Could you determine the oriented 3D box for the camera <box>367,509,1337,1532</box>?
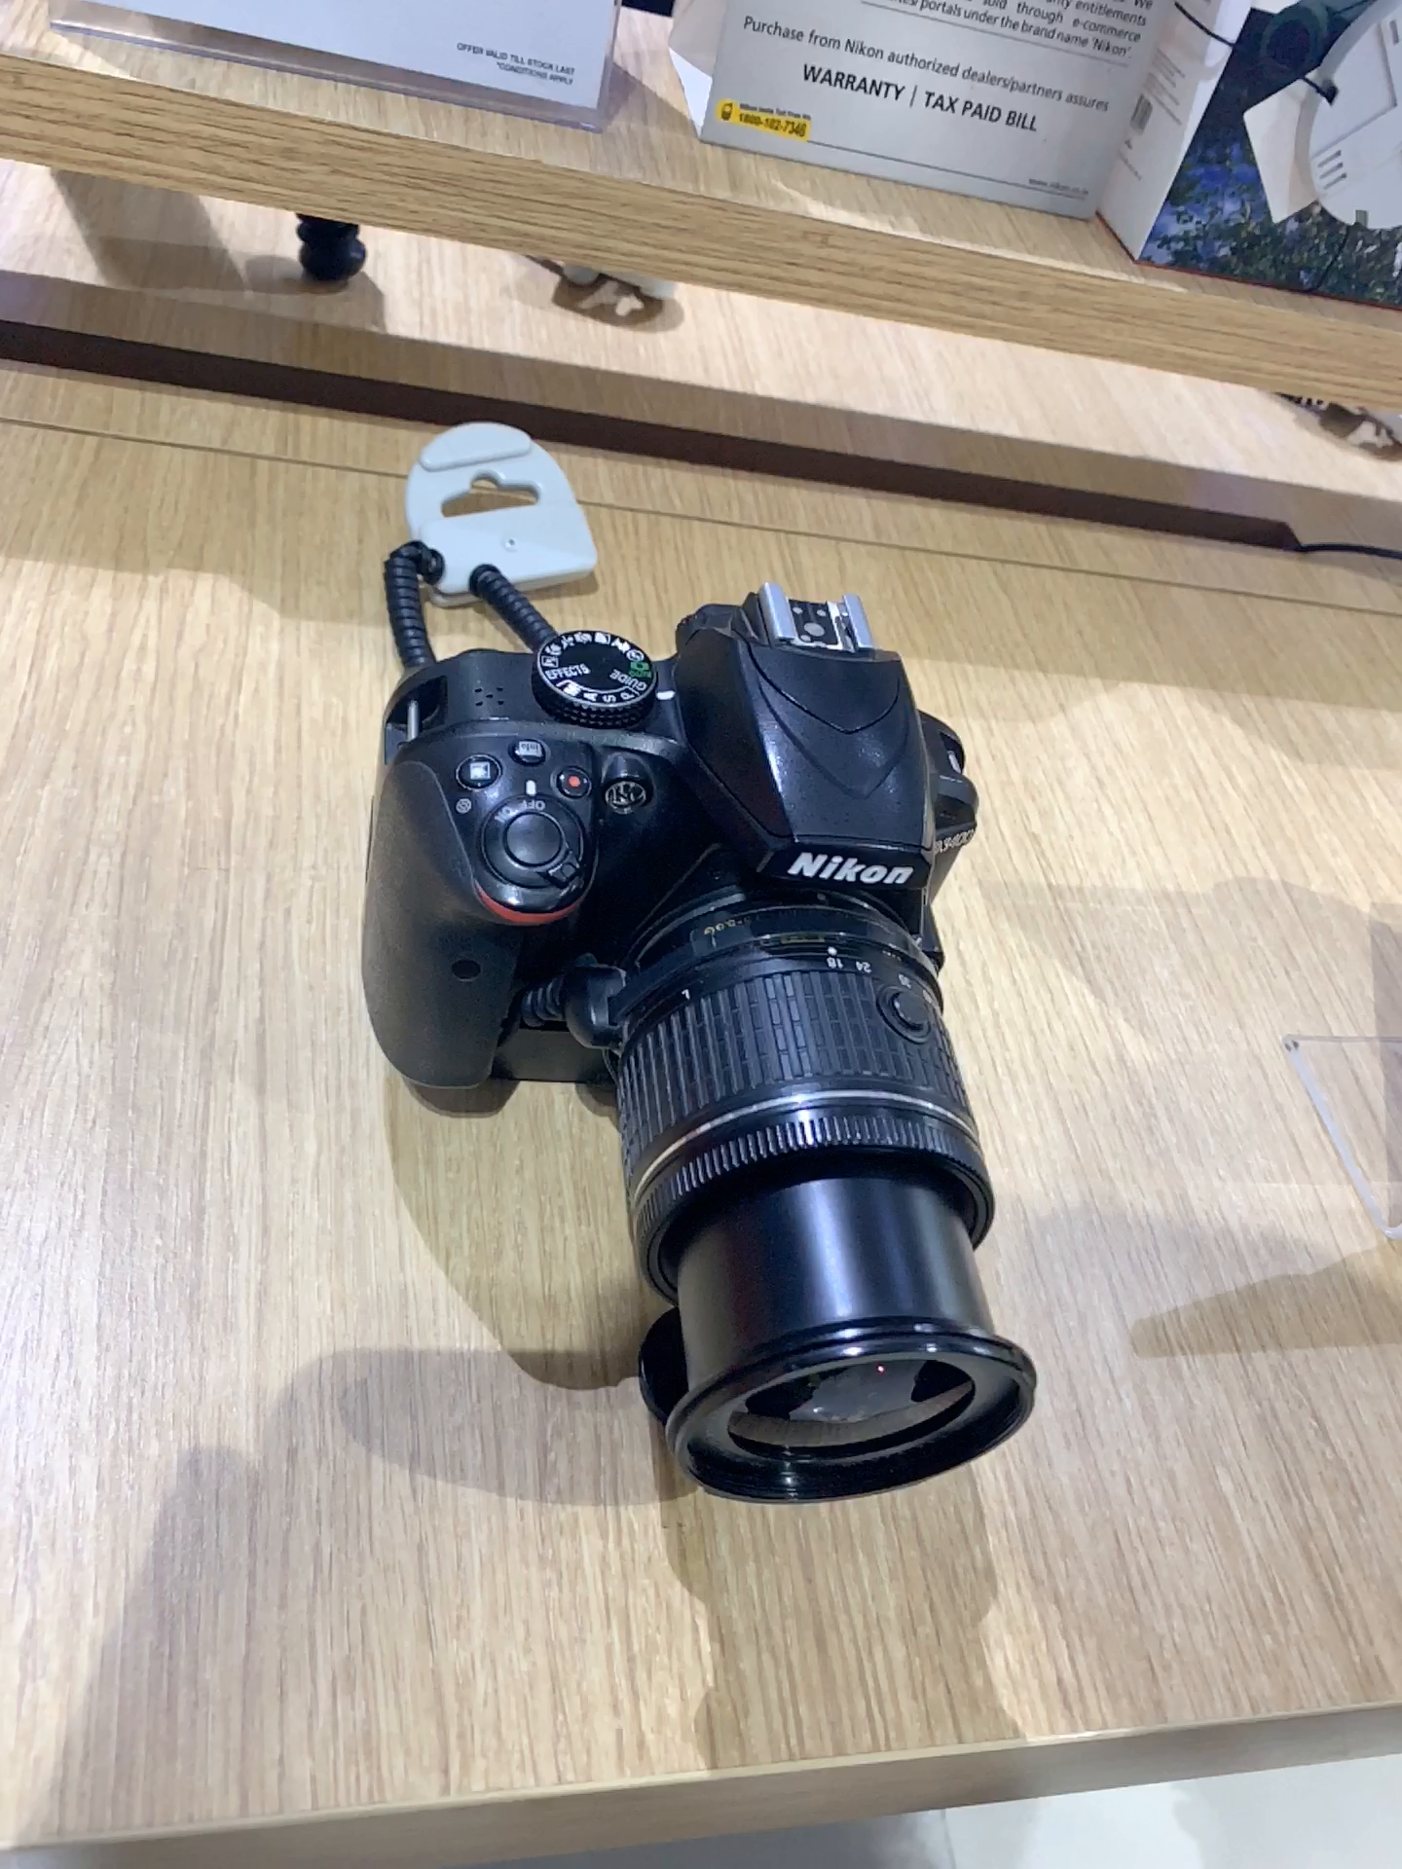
[{"bbox_3d":[0.006,0.013,0.255,0.120,0.094,0.140,3,48,-16],"label":"camera"}]
